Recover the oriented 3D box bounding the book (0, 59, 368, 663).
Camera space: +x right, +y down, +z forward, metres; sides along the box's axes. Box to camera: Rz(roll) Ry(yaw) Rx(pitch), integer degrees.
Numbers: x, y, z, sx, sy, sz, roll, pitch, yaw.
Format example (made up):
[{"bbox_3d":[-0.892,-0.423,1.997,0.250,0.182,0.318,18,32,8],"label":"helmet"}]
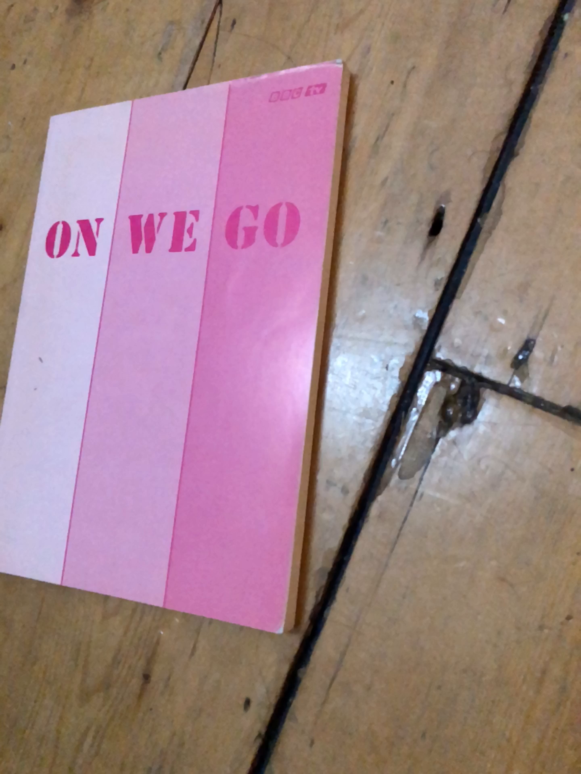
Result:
[{"bbox_3d":[-0.056,-0.017,0.273,0.160,0.020,0.220,2,82,26],"label":"book"}]
